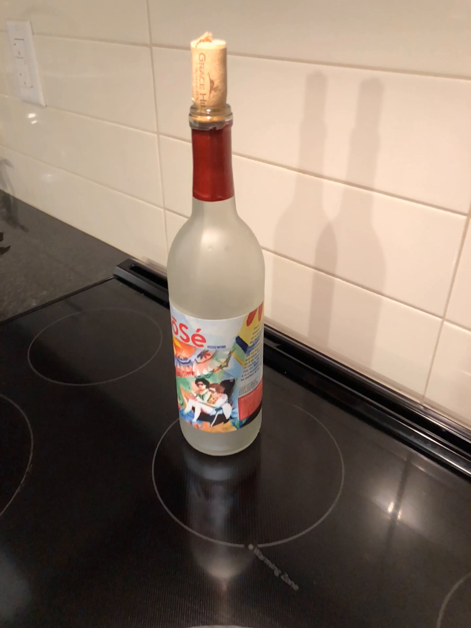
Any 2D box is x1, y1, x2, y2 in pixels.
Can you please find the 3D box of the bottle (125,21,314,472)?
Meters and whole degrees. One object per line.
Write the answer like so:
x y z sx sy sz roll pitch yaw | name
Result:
-0.010 -0.035 0.392 0.080 0.318 0.080 0 32 0 | bottle
